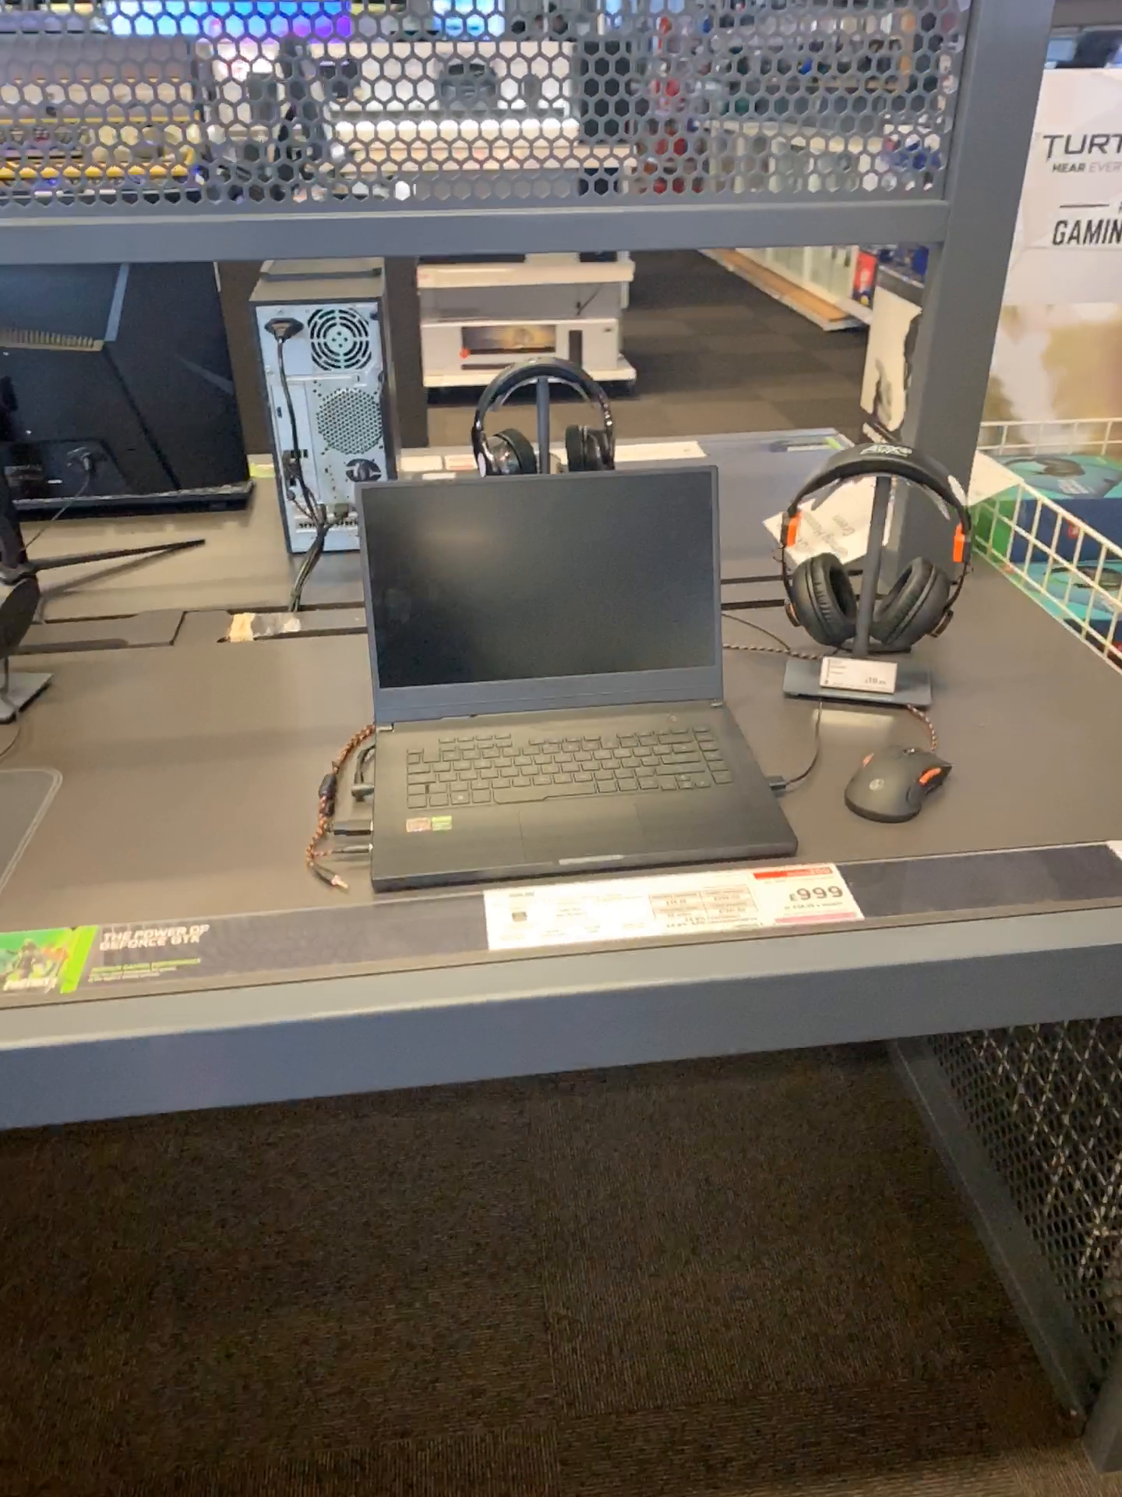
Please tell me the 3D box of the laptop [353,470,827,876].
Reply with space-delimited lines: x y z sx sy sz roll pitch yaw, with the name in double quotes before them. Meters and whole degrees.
"laptop" 0.005 -0.086 1.017 0.348 0.203 0.326 -4 32 -7
